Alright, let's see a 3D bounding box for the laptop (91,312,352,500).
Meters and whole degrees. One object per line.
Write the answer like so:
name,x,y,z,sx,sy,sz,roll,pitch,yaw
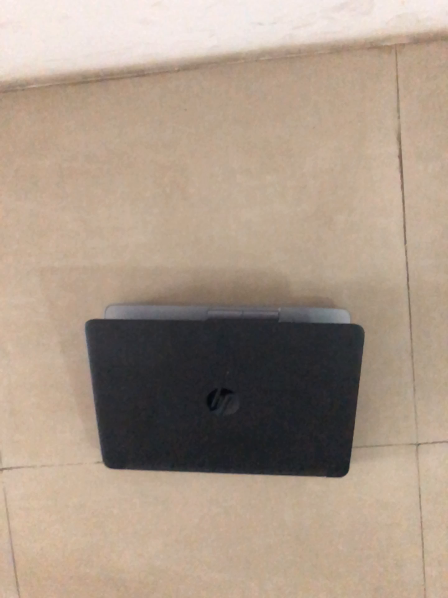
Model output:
laptop,-0.003,0.129,0.631,0.304,0.085,0.214,1,98,3
